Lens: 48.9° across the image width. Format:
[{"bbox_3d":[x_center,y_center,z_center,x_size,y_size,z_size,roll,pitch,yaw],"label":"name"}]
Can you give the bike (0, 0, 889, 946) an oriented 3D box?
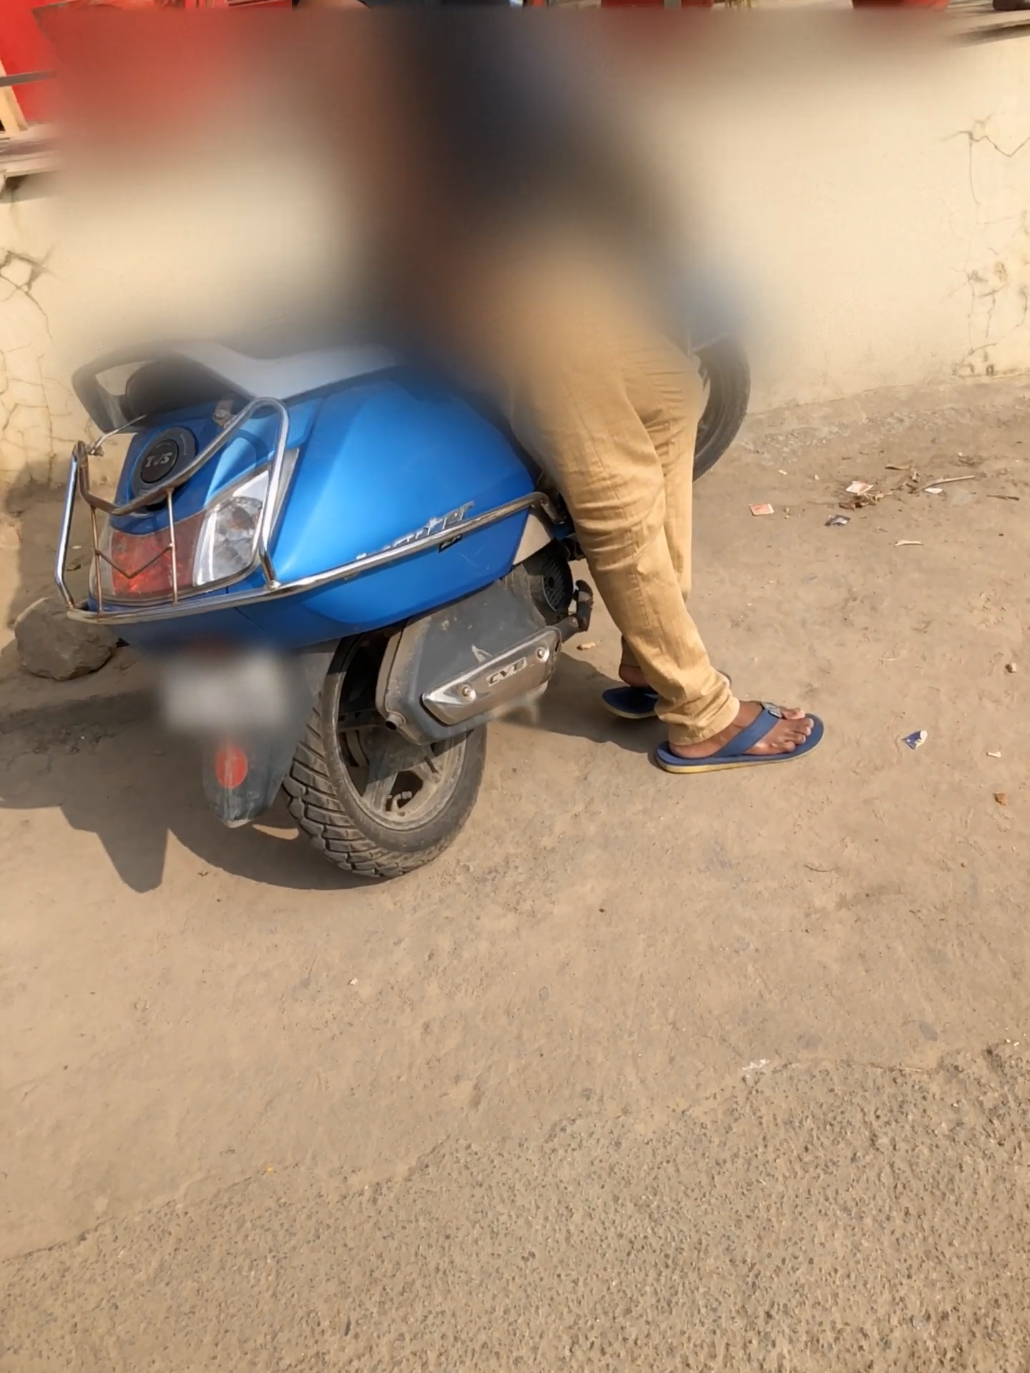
[{"bbox_3d":[0.069,-0.548,1.910,0.593,1.021,1.579,11,39,29],"label":"bike"}]
